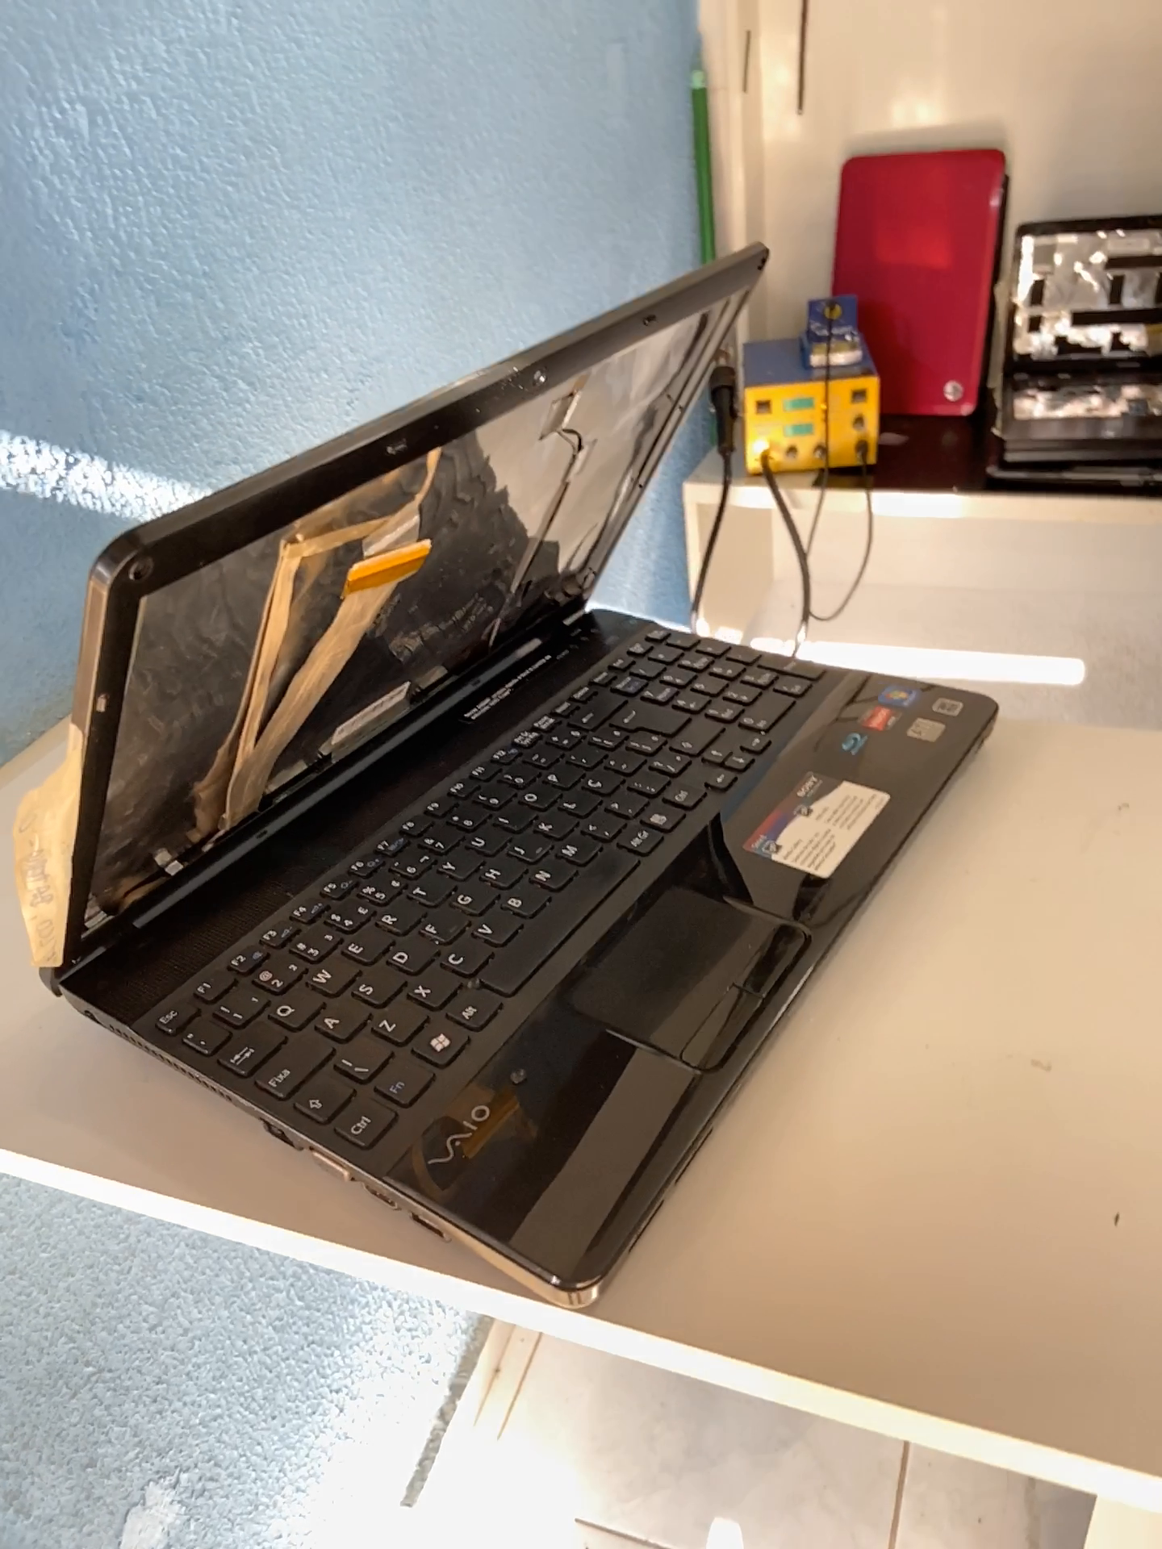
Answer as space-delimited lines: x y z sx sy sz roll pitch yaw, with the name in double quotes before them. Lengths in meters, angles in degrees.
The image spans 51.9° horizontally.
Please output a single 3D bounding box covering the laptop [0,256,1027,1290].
"laptop" -0.010 -0.058 0.471 0.242 0.193 0.365 17 39 31
